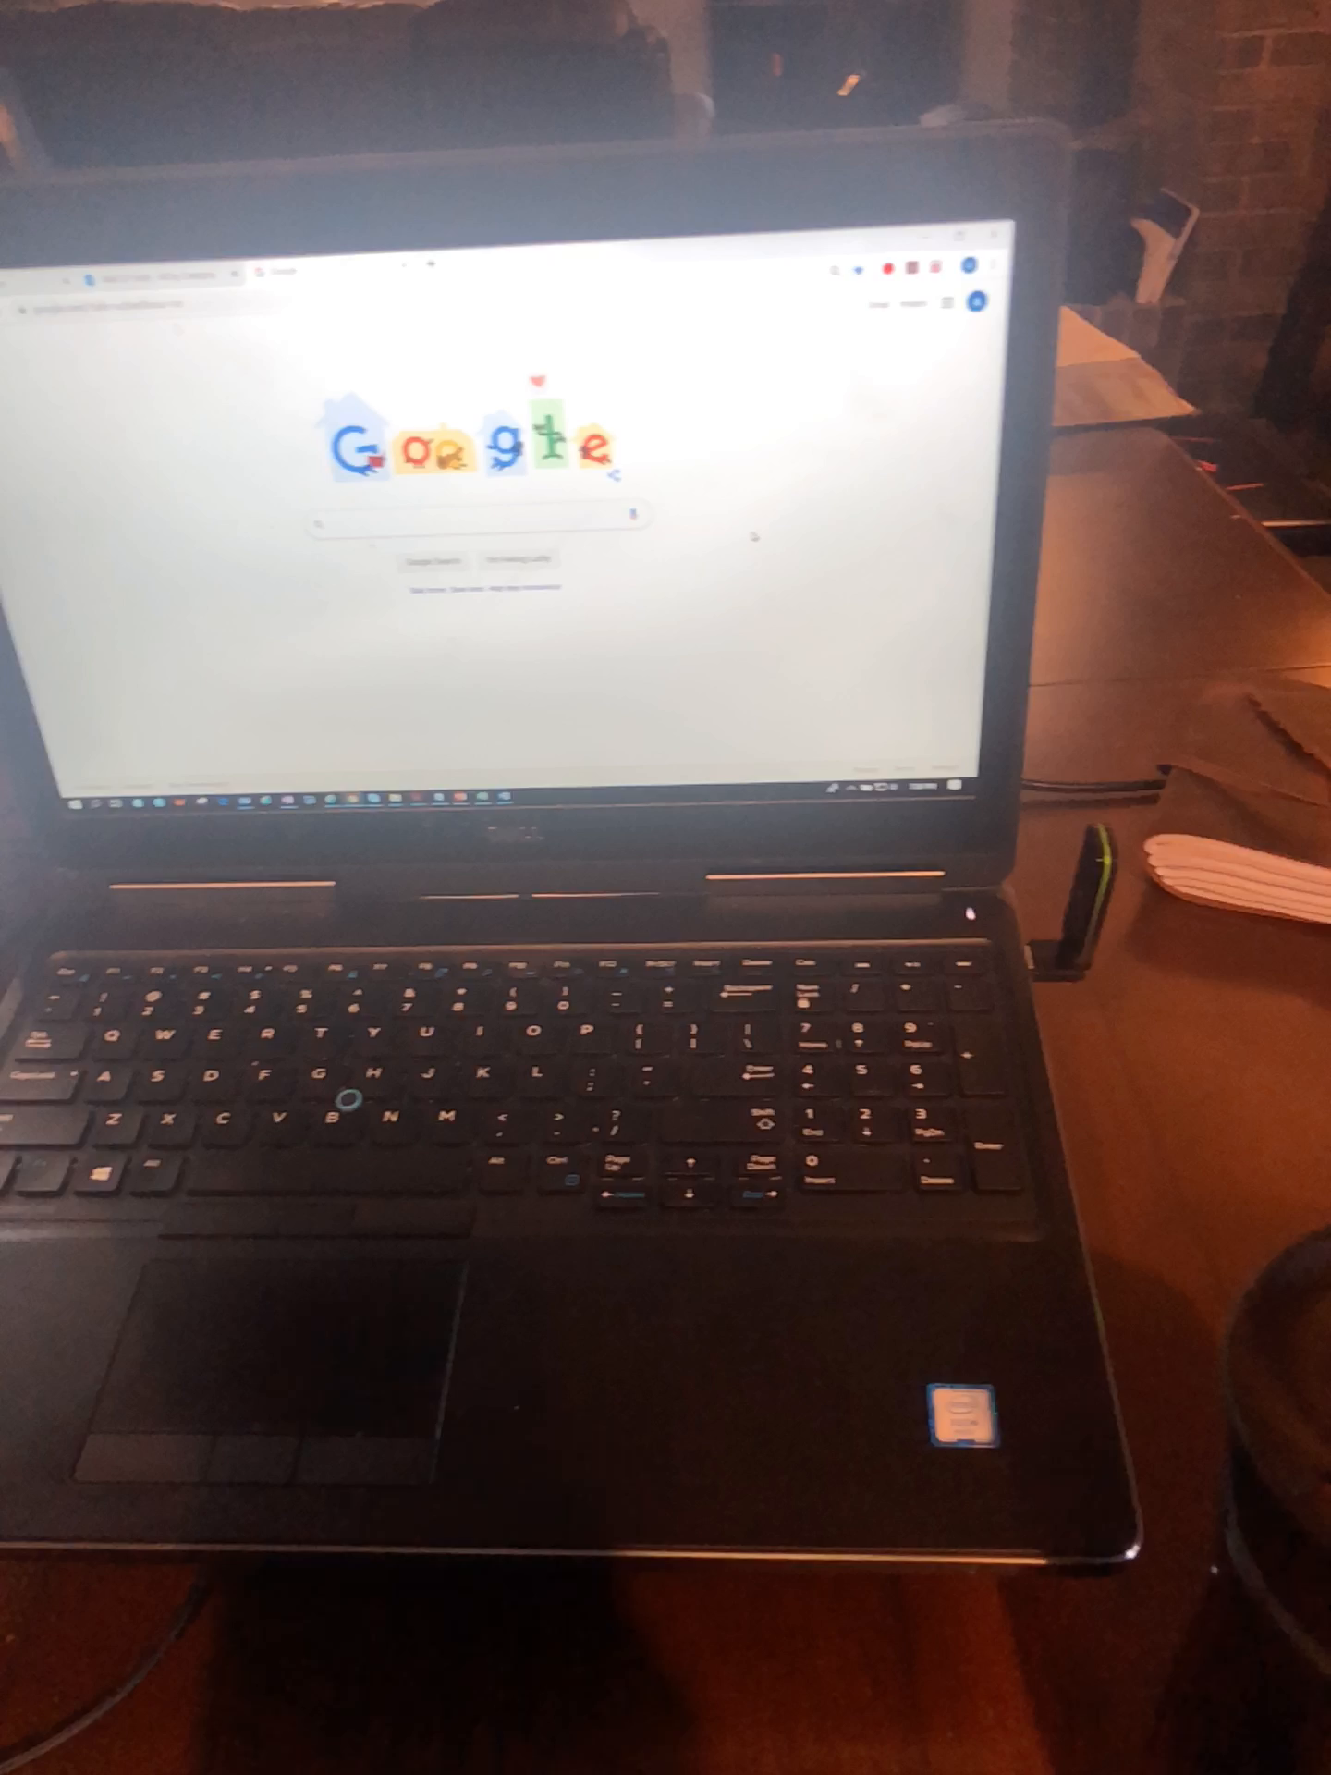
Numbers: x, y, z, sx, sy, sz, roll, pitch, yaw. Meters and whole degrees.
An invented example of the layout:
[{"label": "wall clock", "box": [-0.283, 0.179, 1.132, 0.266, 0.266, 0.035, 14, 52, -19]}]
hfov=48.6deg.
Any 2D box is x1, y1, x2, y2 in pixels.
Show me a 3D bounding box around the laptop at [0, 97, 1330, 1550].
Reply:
[{"label": "laptop", "box": [-0.067, -0.036, 0.415, 0.367, 0.258, 0.287, -1, 37, 4]}]
